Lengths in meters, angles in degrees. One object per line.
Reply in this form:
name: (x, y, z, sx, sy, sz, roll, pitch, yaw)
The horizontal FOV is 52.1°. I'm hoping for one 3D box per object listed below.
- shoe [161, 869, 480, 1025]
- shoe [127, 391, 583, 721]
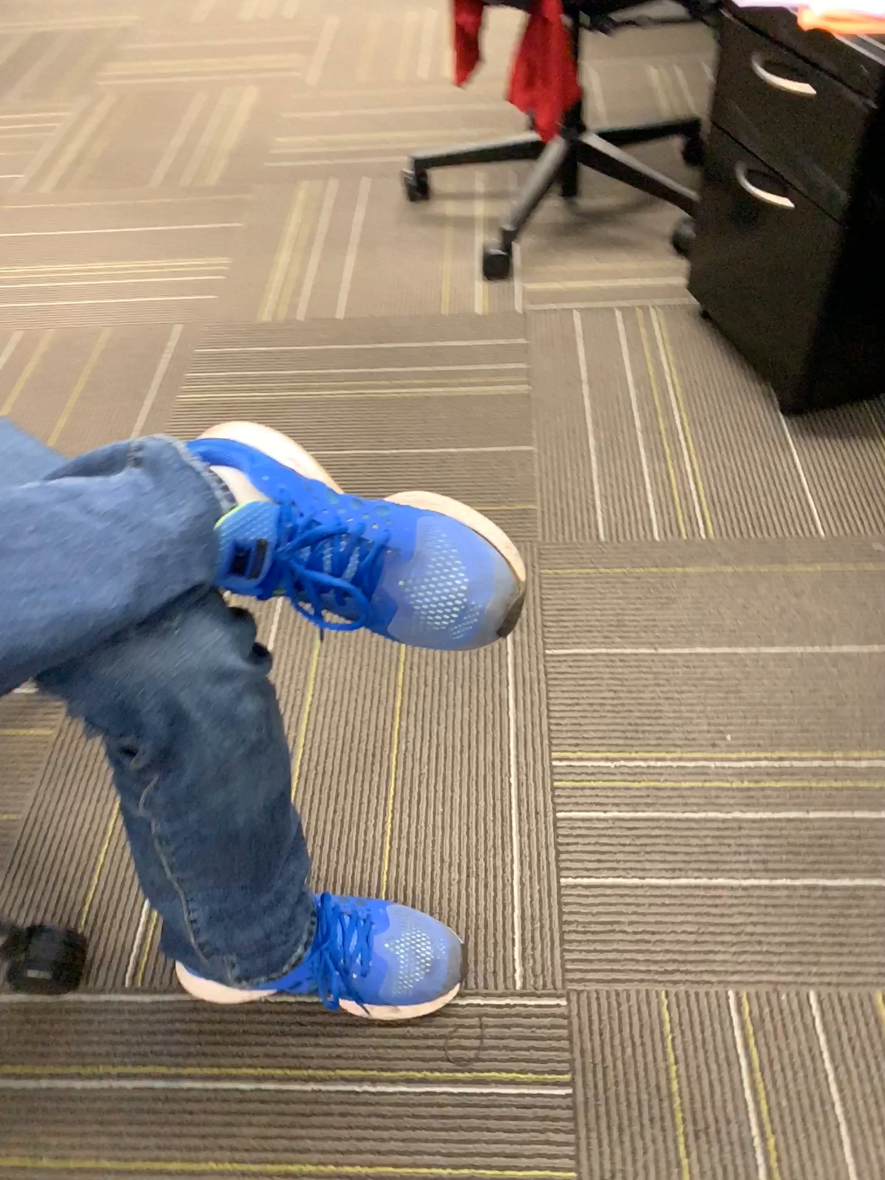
shoe: (-0.109, 0.345, 0.878, 0.283, 0.086, 0.101, 1, 47, 6)
shoe: (-0.065, -0.035, 0.595, 0.275, 0.117, 0.103, 19, 27, 21)
